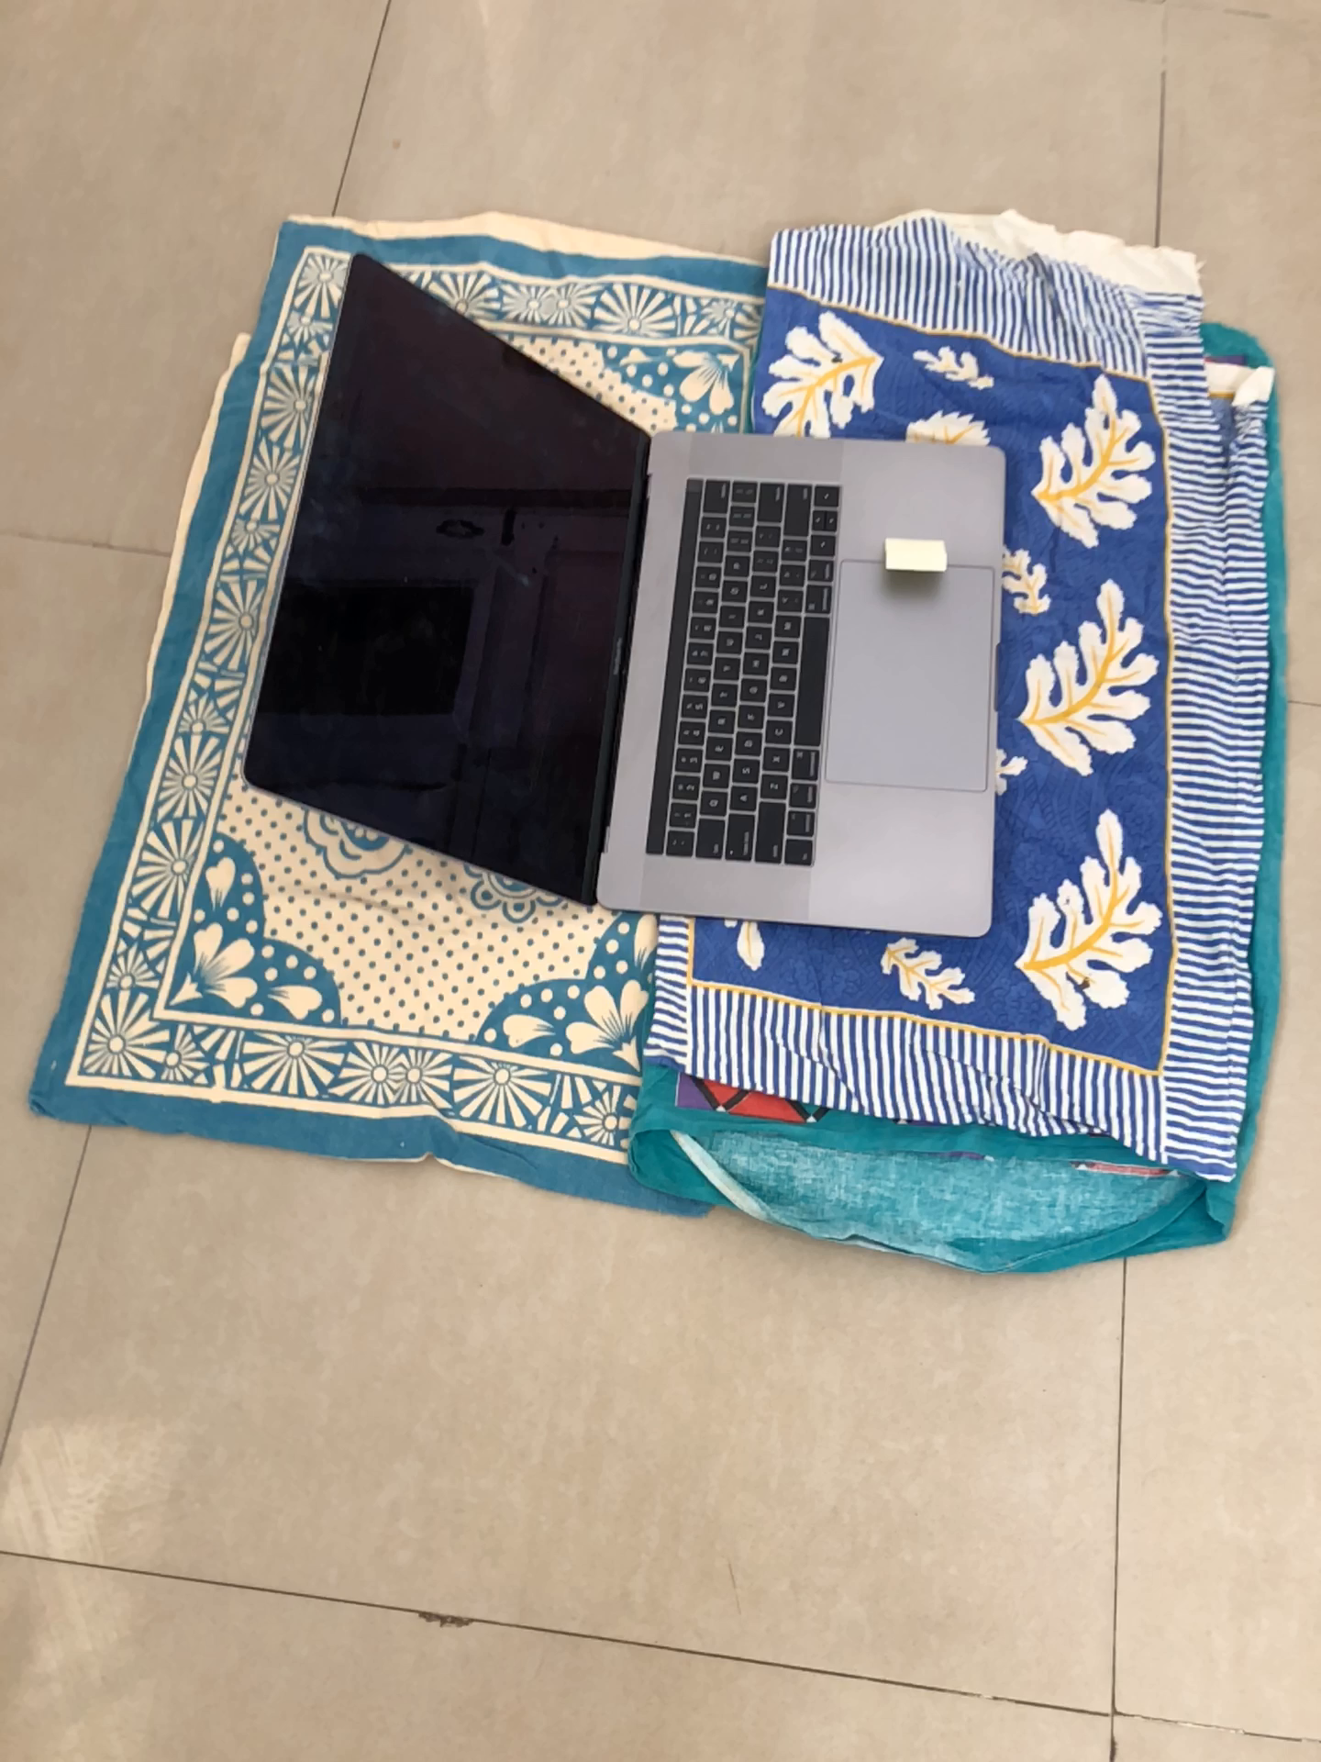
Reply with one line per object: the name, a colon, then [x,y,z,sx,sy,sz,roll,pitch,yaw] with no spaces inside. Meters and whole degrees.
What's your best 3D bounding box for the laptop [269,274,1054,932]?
laptop: [0.011,-0.166,0.863,0.401,0.132,0.336,5,70,3]
